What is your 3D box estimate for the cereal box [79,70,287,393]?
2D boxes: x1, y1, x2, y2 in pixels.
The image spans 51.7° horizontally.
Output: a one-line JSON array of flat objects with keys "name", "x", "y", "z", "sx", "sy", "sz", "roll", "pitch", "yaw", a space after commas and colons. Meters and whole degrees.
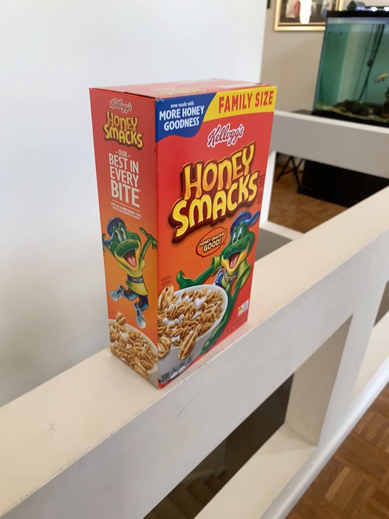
[{"name": "cereal box", "x": -0.006, "y": -0.042, "z": 0.500, "sx": 0.100, "sy": 0.338, "sz": 0.211, "roll": 24, "pitch": 36, "yaw": 35}]
